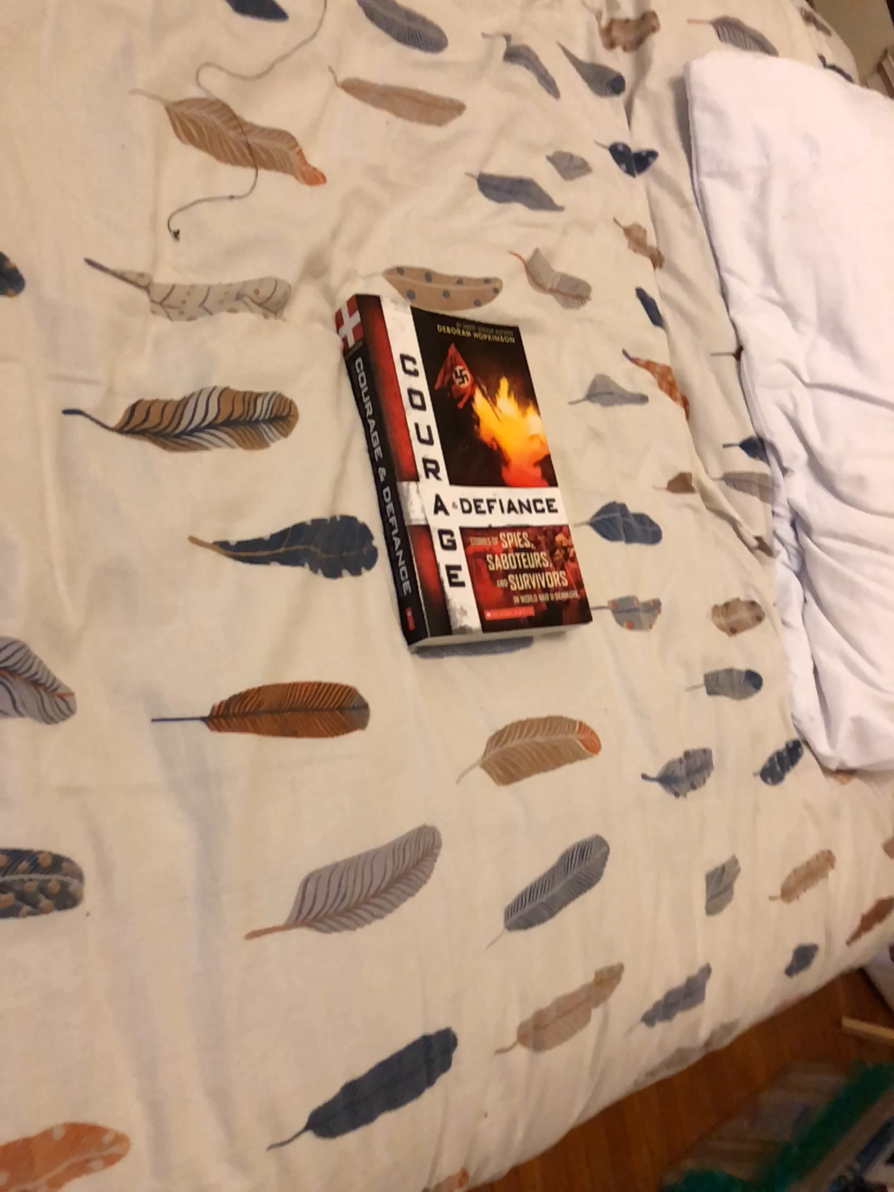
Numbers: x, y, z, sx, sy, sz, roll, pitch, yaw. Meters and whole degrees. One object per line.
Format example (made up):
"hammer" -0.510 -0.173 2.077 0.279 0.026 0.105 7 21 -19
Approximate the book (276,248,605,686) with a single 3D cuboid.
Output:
"book" 0.006 -0.074 0.582 0.201 0.020 0.230 -5 80 -49
